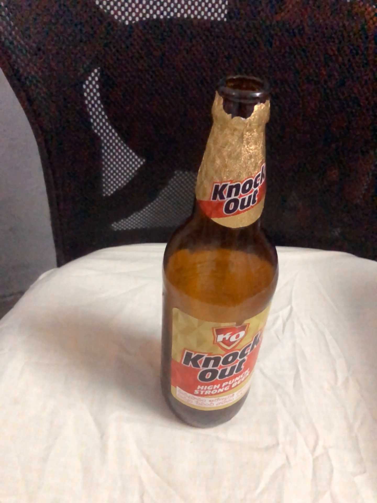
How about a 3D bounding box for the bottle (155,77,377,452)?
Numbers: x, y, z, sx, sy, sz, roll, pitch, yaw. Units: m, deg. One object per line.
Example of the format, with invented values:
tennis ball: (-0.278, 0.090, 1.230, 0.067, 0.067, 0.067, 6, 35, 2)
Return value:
bottle: (0.030, 0.029, 0.267, 0.080, 0.249, 0.070, -7, 43, -15)
